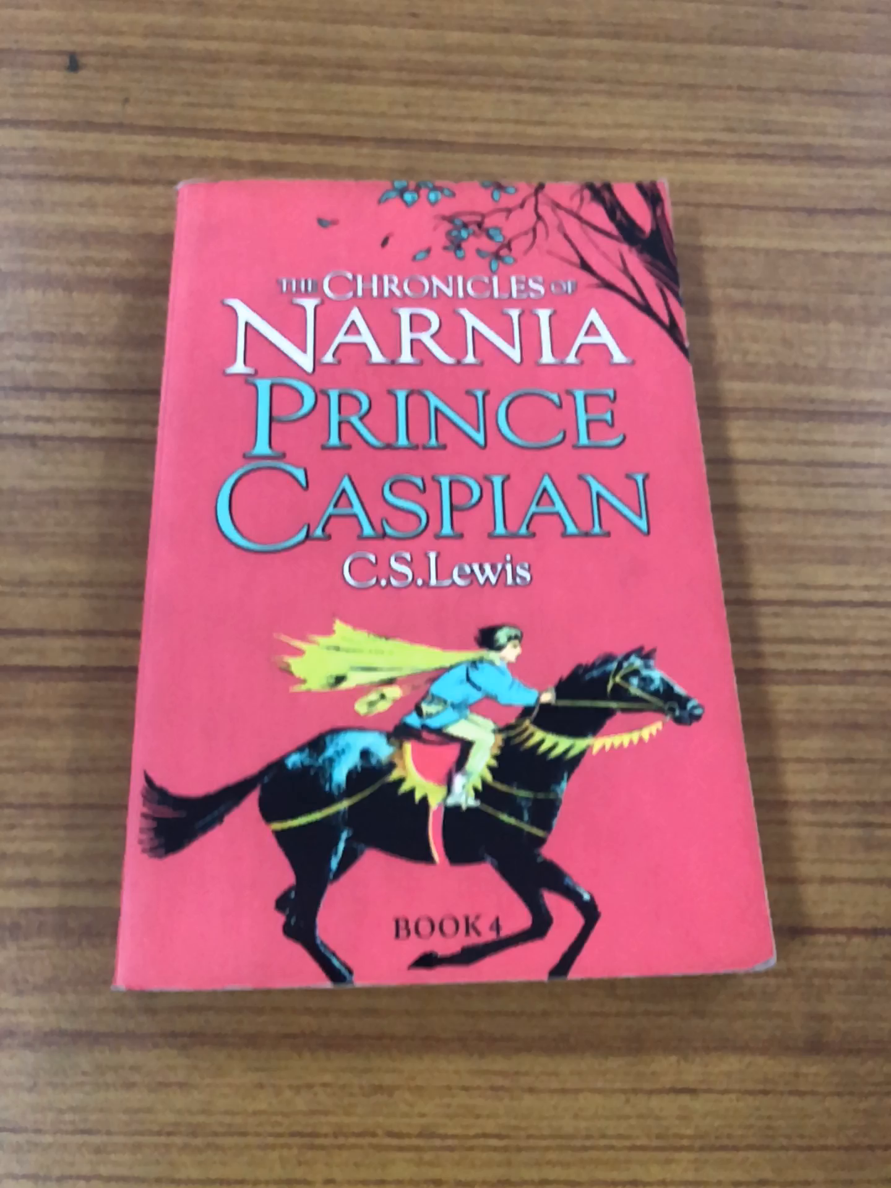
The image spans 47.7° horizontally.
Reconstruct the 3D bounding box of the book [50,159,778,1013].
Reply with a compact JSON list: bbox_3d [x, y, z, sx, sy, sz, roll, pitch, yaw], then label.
[{"bbox_3d":[-0.008,-0.011,0.227,0.130,0.030,0.190,0,70,-3],"label":"book"}]
